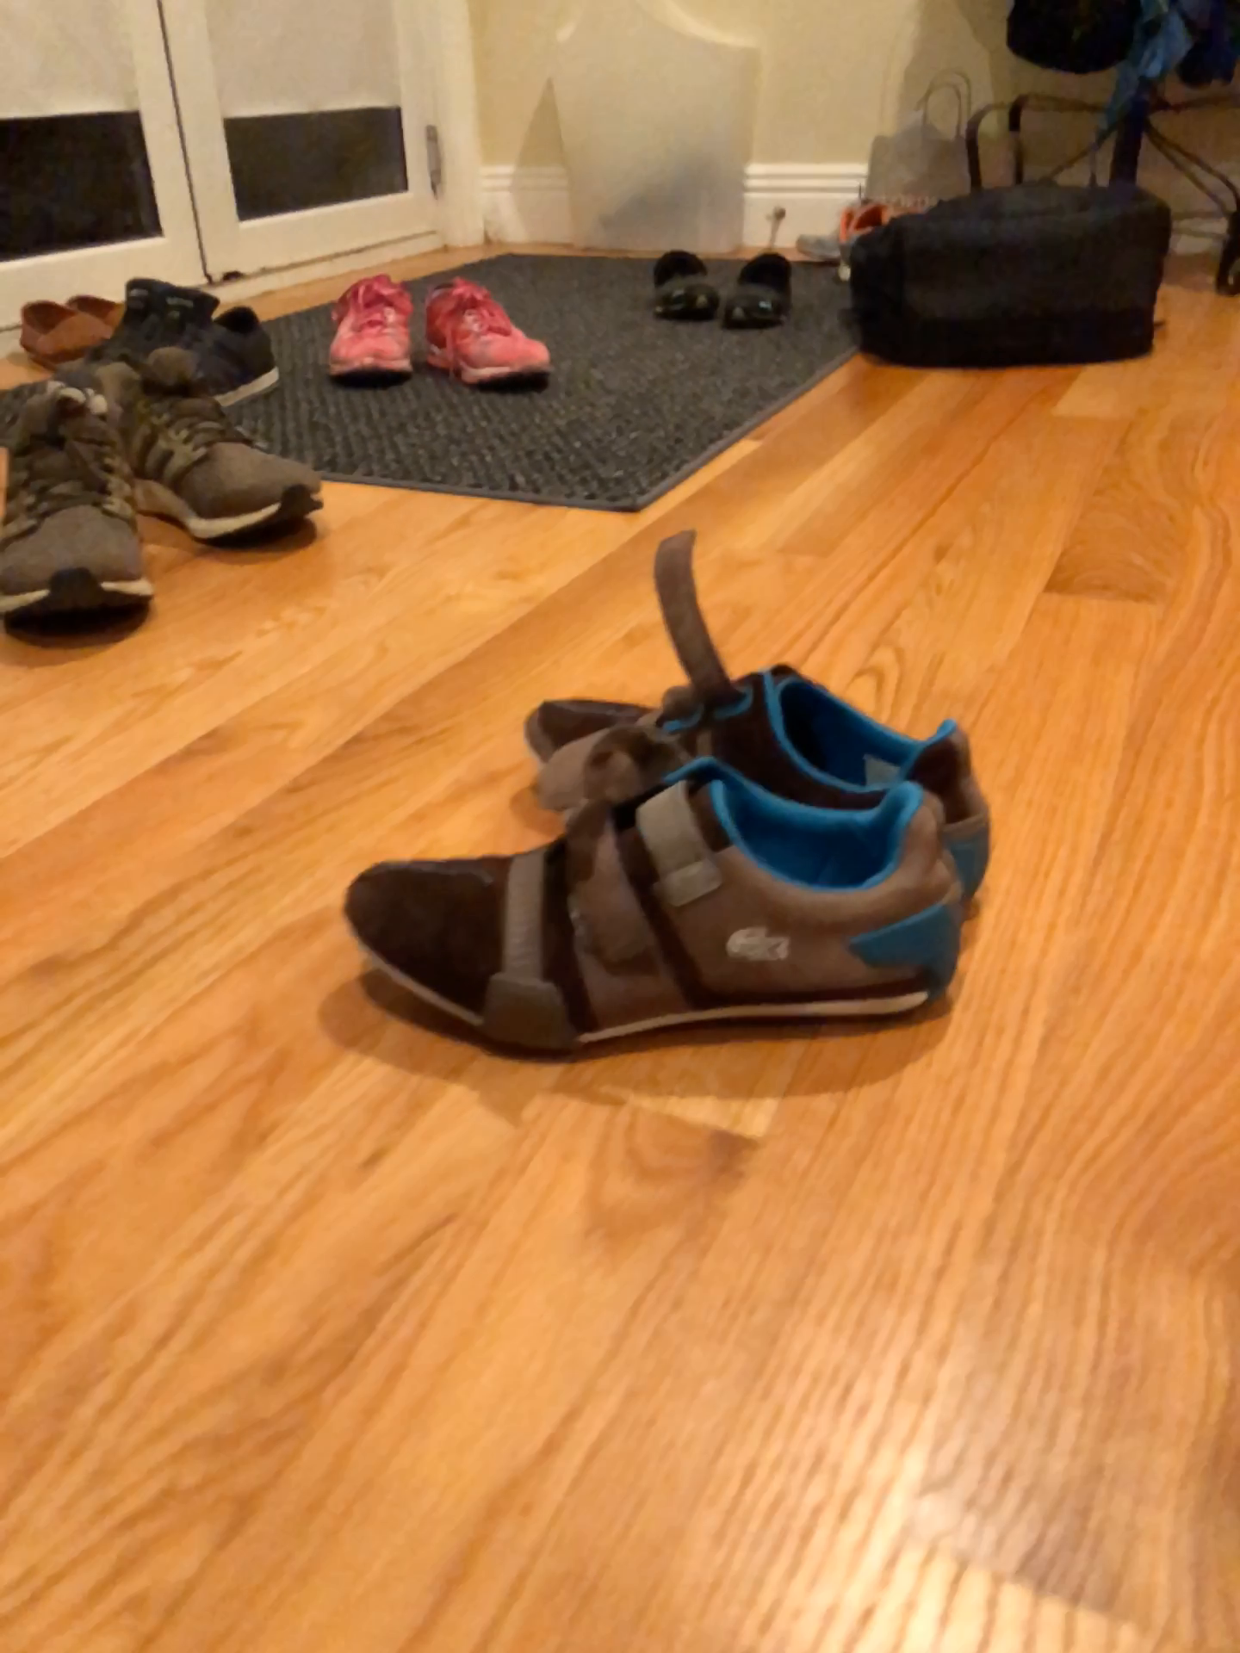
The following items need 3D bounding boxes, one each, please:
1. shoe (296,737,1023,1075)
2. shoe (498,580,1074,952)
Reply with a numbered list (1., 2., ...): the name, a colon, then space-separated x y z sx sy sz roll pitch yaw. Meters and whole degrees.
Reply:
1. shoe: 0.016 0.028 0.542 0.255 0.091 0.103 0 29 4
2. shoe: 0.074 -0.041 0.667 0.255 0.091 0.102 18 35 32
